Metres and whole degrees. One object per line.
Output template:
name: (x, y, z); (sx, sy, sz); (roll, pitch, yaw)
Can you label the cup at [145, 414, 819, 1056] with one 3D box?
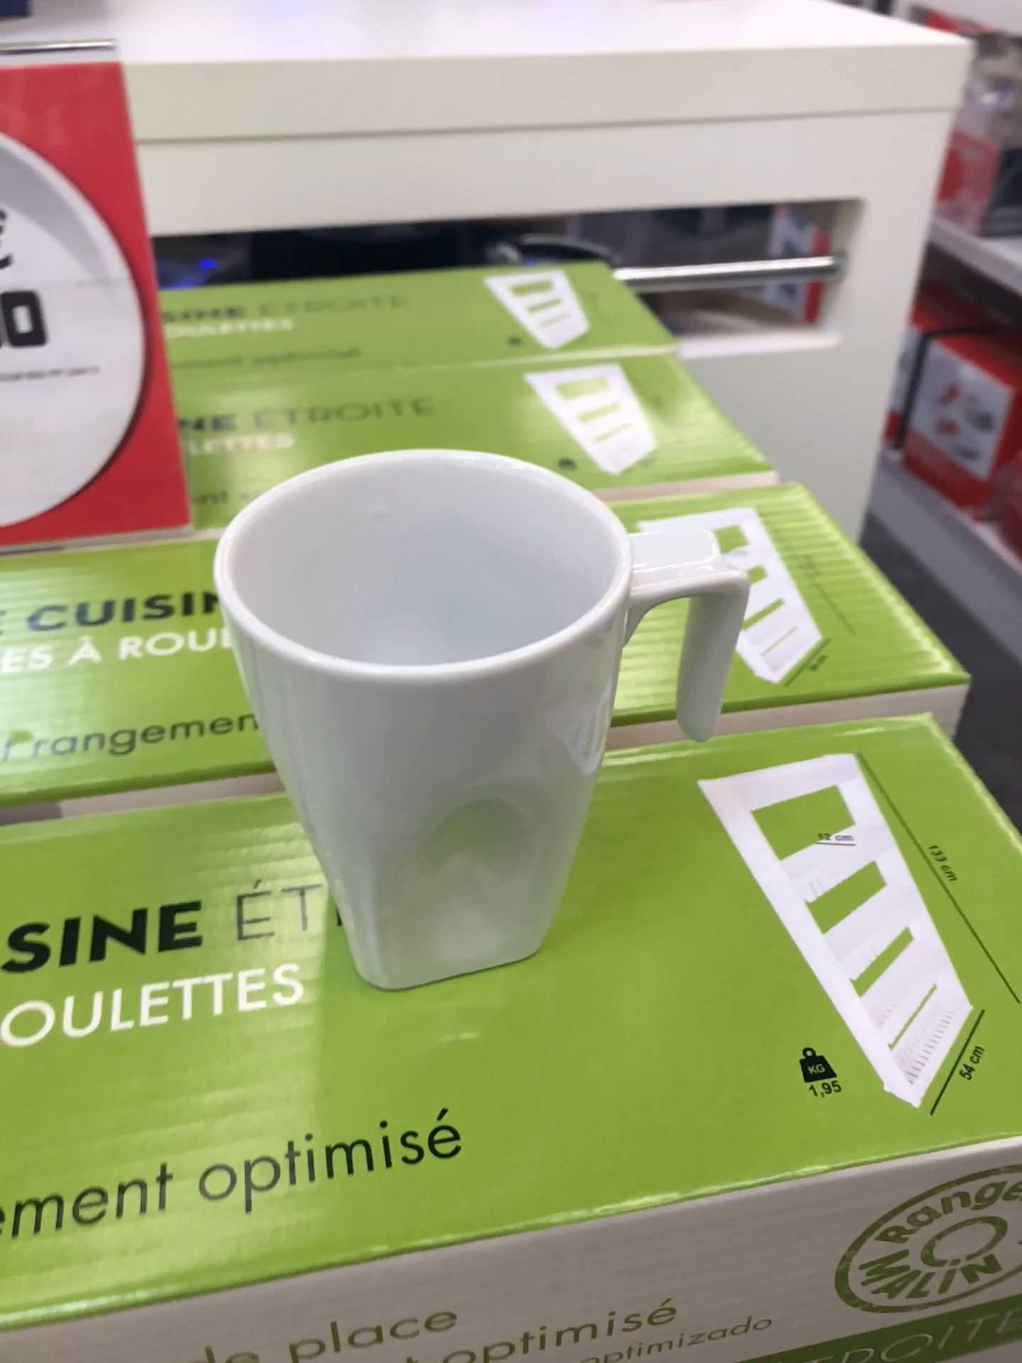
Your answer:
cup: (-0.012, 0.006, 0.244); (0.111, 0.087, 0.083); (-9, 38, -14)
